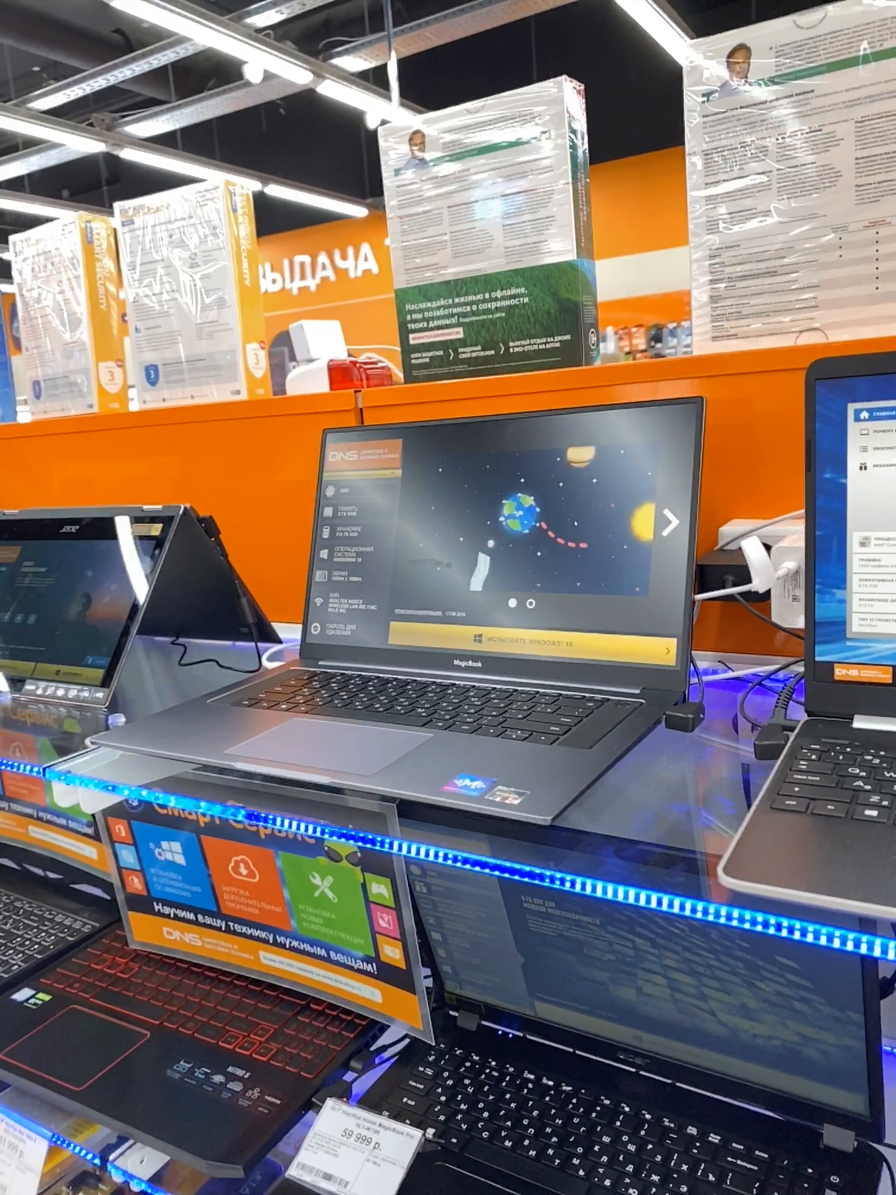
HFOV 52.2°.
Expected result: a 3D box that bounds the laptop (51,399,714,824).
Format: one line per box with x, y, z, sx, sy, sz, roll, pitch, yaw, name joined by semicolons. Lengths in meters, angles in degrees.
-0.031;-0.023;0.686;0.368;0.207;0.314;2;12;32;laptop
